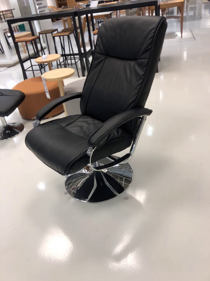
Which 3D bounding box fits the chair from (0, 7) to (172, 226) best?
[{"bbox_3d":[-0.121,-0.224,1.519,0.803,0.992,0.733,-31,38,-30],"label":"chair"}]
